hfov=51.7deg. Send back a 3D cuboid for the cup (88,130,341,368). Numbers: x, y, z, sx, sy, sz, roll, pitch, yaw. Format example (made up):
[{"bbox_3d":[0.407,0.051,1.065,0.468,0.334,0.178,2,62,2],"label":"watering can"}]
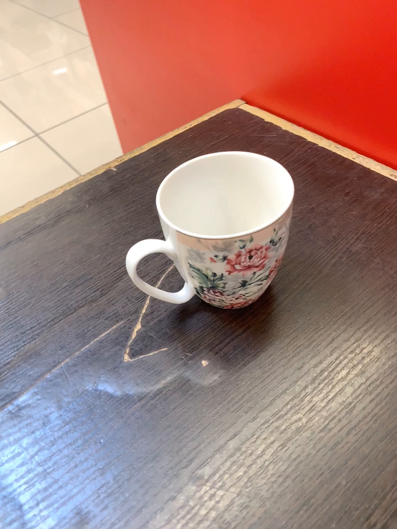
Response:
[{"bbox_3d":[0.009,-0.013,0.245,0.110,0.070,0.080,-27,50,-16],"label":"cup"}]
